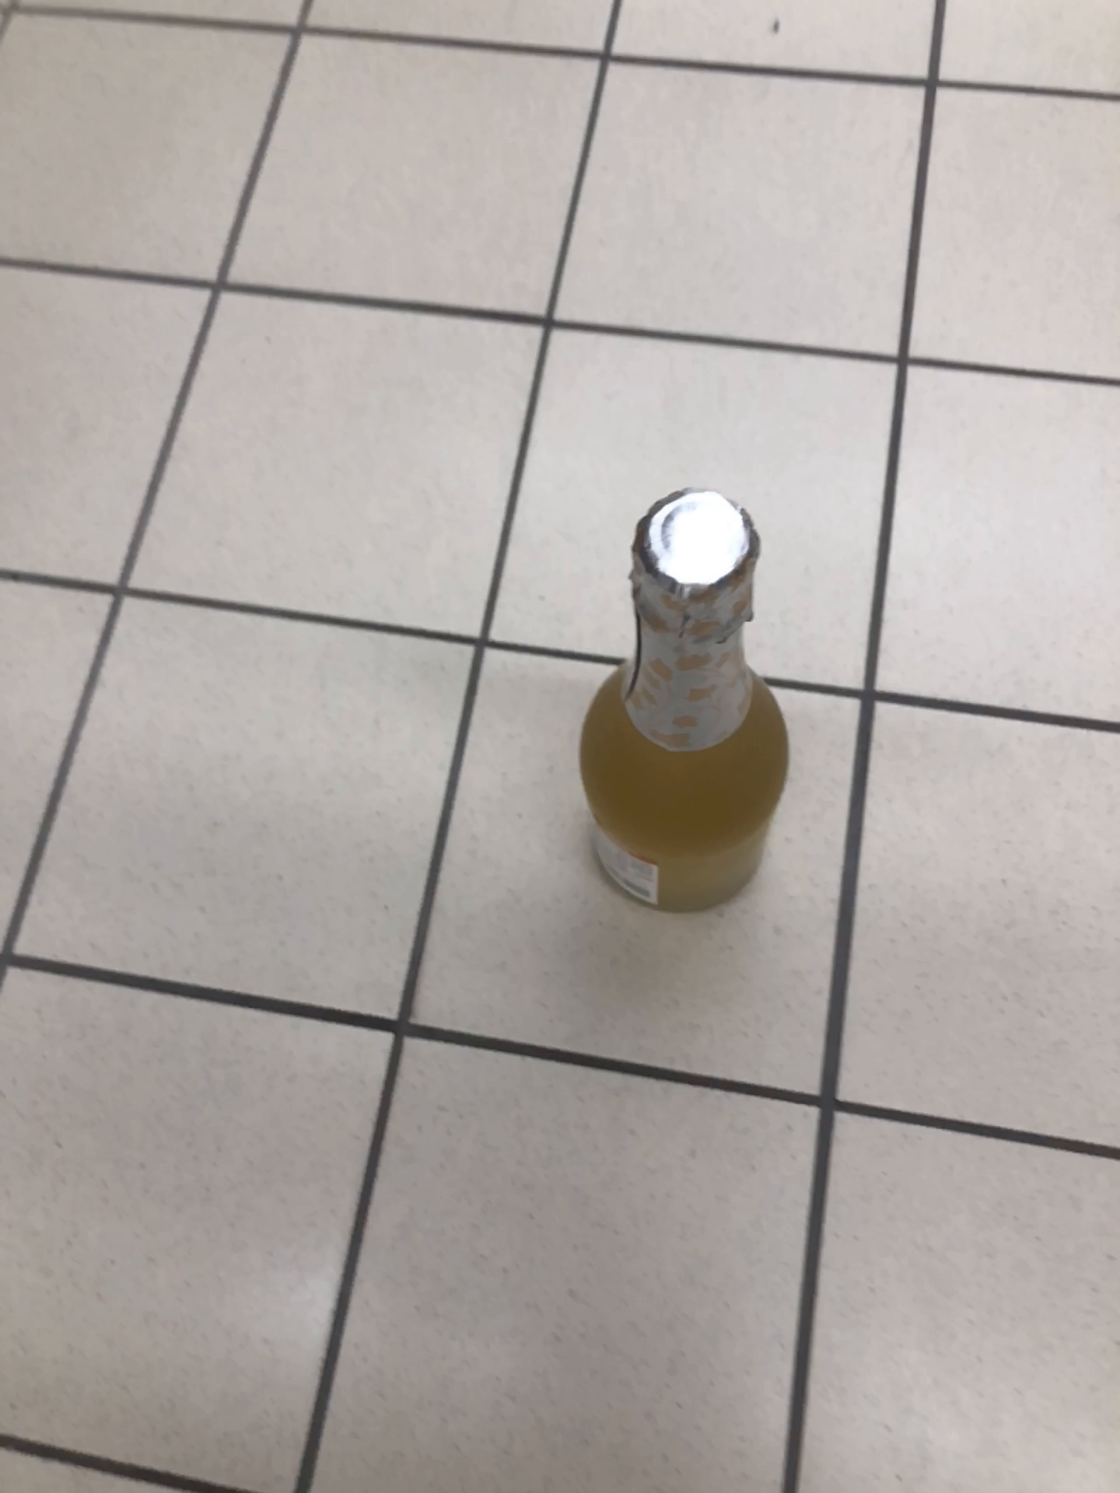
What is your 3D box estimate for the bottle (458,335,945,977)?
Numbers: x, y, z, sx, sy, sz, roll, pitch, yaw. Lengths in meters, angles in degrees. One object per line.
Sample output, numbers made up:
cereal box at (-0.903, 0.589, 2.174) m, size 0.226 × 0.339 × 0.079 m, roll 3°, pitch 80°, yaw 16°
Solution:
bottle at (0.045, -0.002, 0.463) m, size 0.090 × 0.309 × 0.090 m, roll -1°, pitch 70°, yaw 4°
